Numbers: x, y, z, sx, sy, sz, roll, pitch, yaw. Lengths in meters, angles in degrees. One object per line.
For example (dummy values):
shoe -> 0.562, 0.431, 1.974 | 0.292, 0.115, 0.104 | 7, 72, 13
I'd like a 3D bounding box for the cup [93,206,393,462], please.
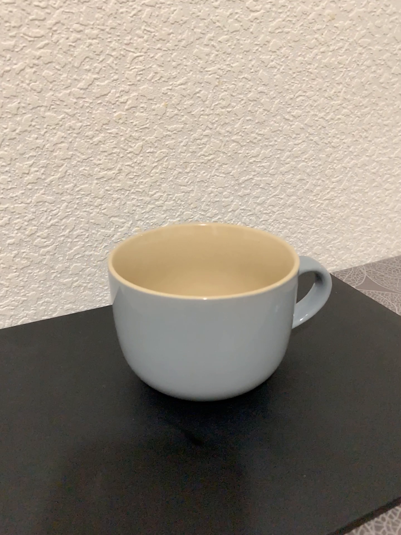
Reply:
cup -> 0.013, 0.024, 0.245 | 0.133, 0.079, 0.111 | -8, 26, -16
